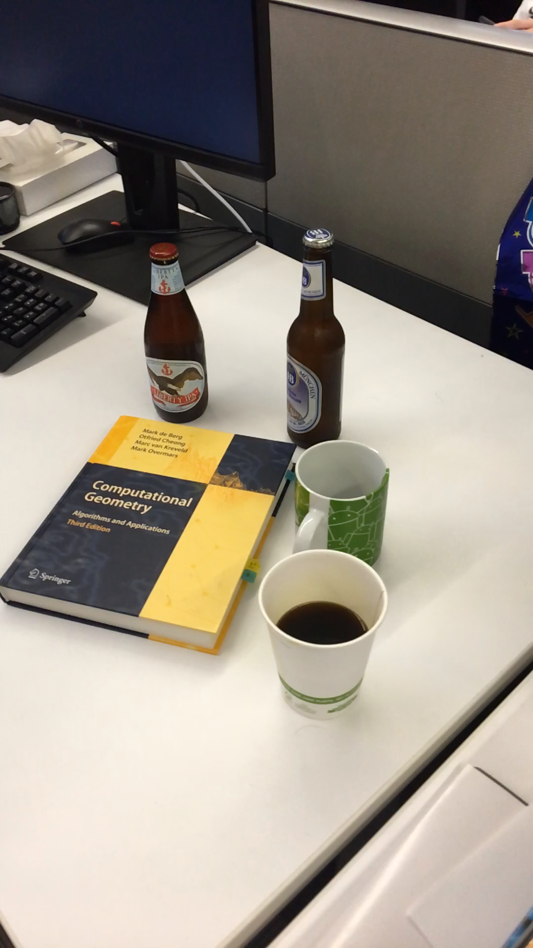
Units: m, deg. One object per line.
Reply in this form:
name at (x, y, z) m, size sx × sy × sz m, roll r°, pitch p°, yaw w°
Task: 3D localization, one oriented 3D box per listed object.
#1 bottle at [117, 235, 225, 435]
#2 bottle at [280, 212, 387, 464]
bottle at (-0.090, -0.134, 0.783) m, size 0.070 × 0.180 × 0.070 m, roll -1°, pitch 42°, yaw 1°
bottle at (0.059, -0.121, 0.741) m, size 0.070 × 0.220 × 0.060 m, roll -21°, pitch 45°, yaw -20°
